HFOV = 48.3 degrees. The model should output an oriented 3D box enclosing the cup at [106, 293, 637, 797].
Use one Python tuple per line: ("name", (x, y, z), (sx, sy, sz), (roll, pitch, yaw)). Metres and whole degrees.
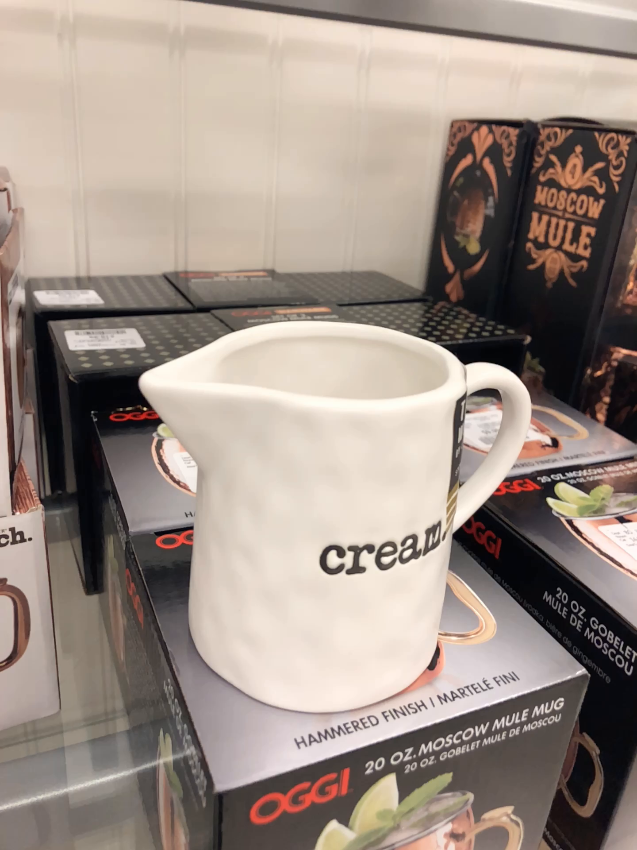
("cup", (0.019, 0.017, 0.182), (0.125, 0.080, 0.063), (-10, 27, -29))
